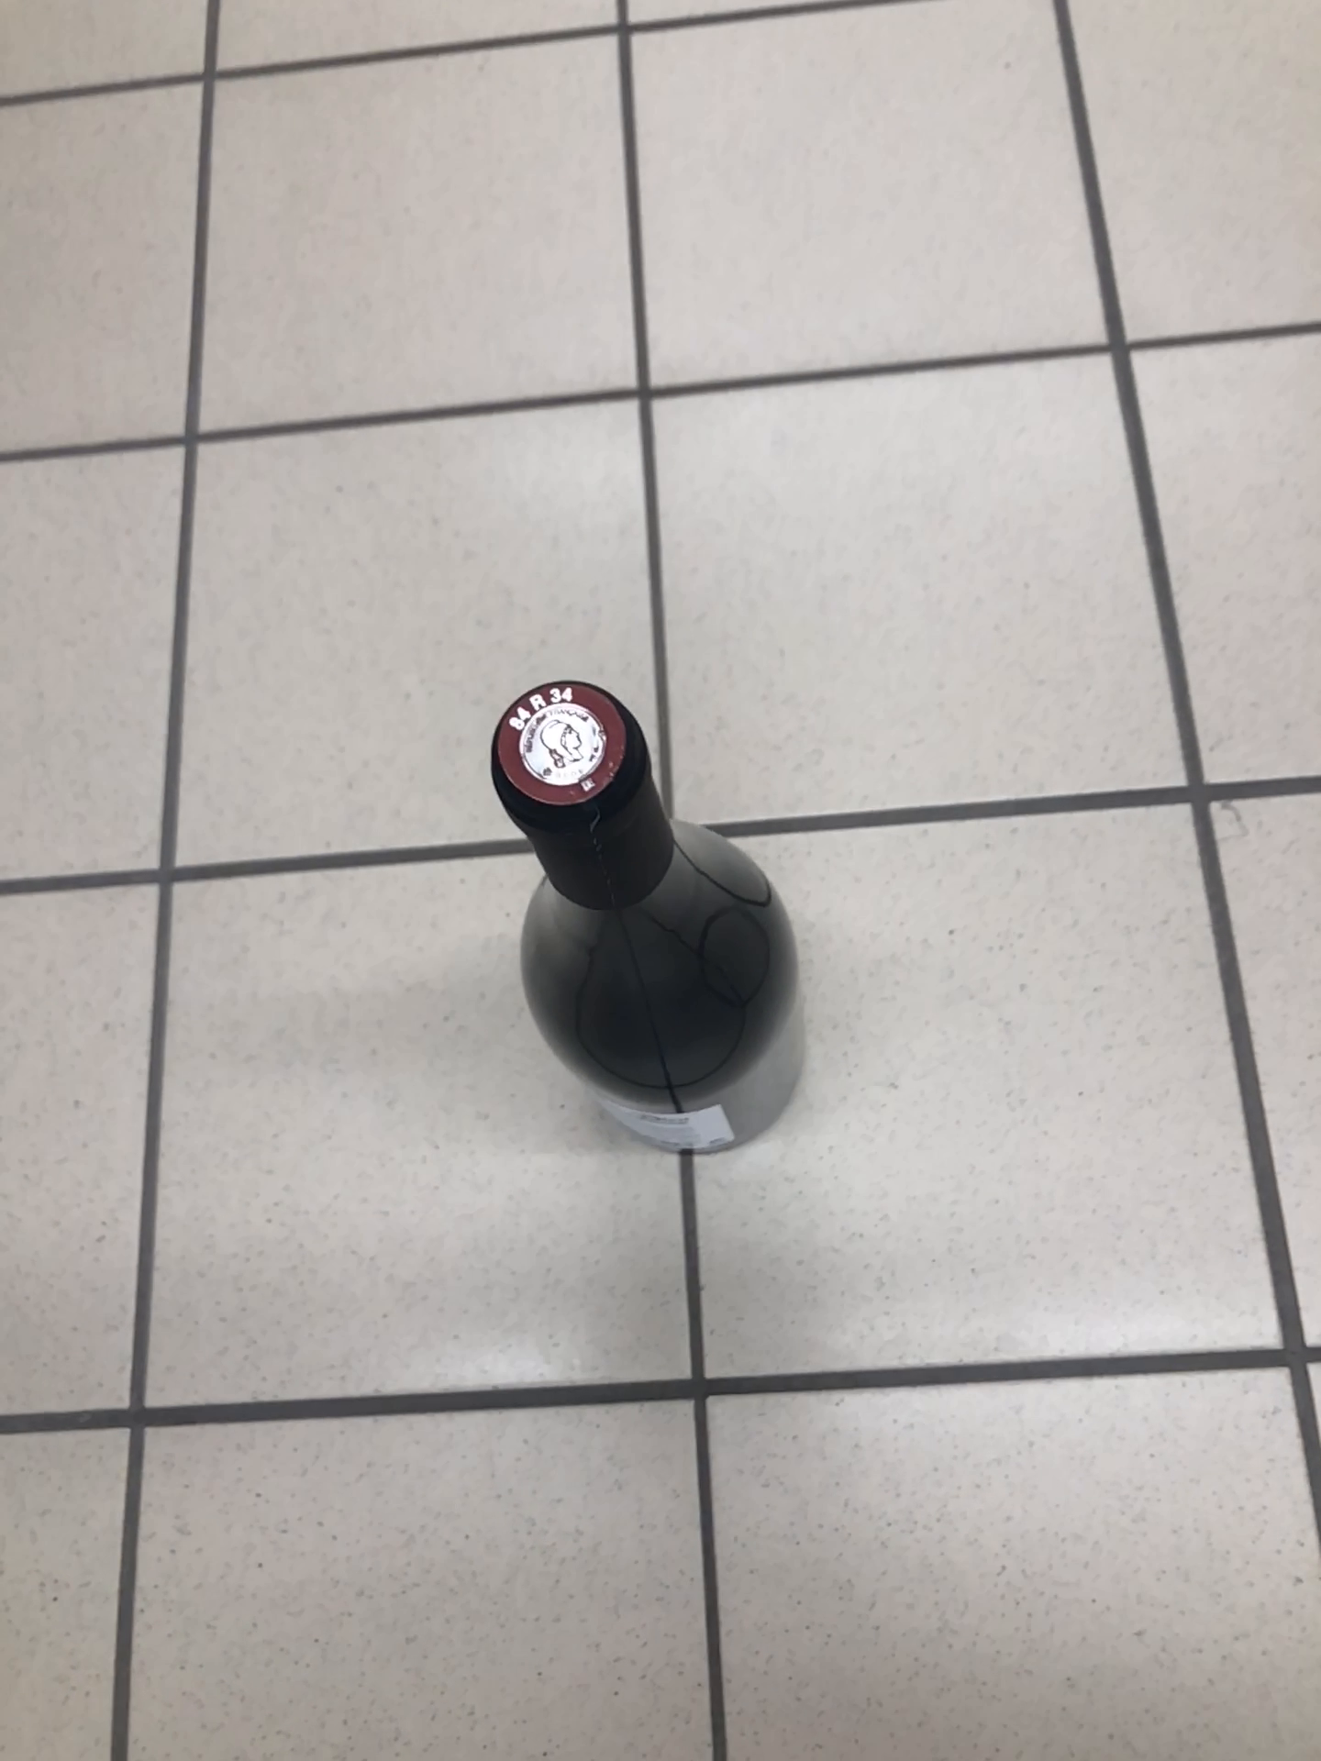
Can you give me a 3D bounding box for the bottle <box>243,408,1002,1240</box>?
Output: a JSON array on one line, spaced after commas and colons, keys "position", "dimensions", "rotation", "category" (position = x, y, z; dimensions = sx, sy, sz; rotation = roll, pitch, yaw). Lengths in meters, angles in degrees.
[{"position": [0.007, 0.017, 0.393], "dimensions": [0.100, 0.290, 0.100], "rotation": [-2, 72, 5], "category": "bottle"}]
